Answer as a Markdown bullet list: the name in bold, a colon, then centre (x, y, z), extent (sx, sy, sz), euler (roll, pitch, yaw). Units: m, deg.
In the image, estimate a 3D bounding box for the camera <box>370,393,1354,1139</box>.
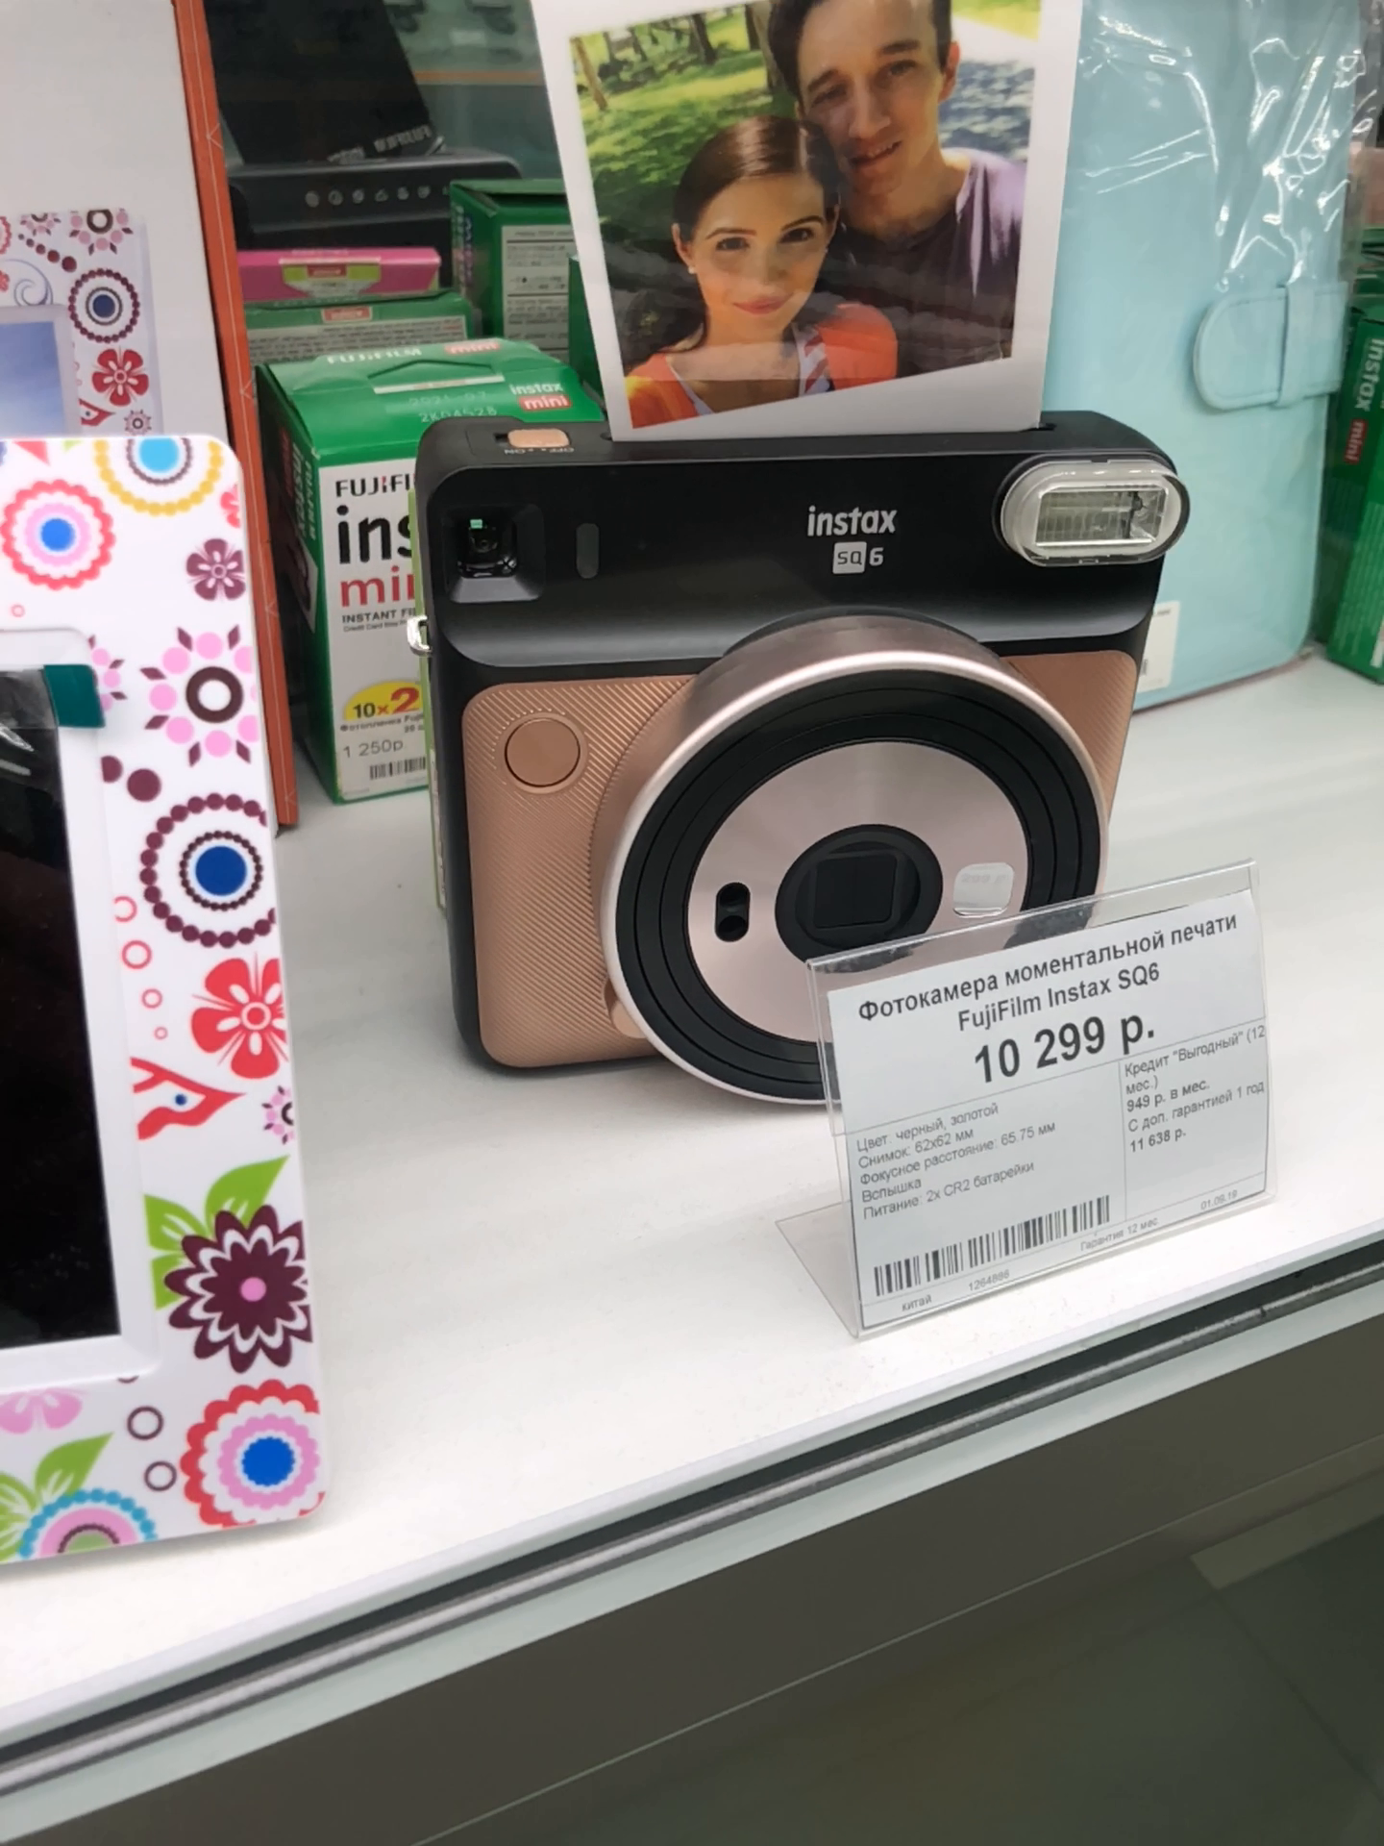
- **camera**: centre (0.020, -0.029, 0.265), extent (0.140, 0.104, 0.060), euler (-4, 33, -11)
